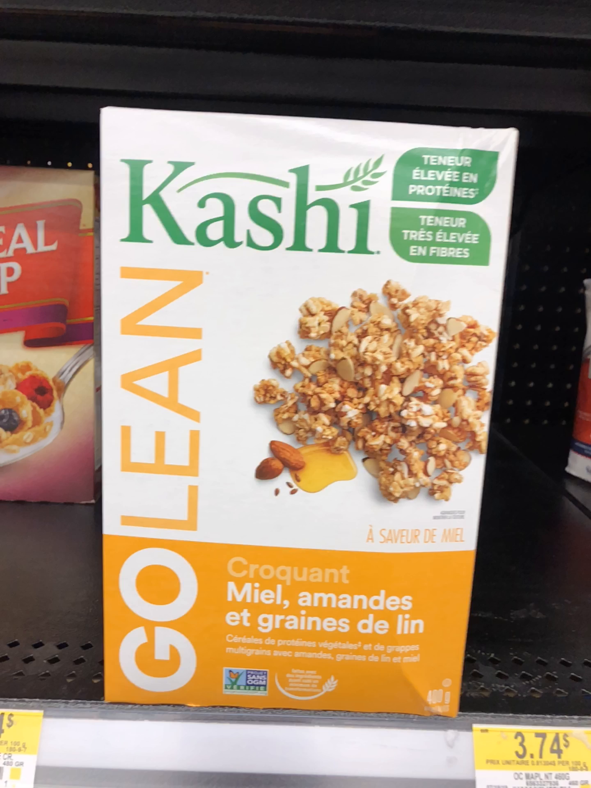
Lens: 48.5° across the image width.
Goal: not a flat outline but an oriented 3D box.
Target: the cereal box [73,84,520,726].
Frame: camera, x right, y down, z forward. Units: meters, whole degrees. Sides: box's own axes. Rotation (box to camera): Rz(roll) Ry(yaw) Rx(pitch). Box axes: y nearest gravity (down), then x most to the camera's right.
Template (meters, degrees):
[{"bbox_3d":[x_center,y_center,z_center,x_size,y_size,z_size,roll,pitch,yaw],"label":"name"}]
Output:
[{"bbox_3d":[-0.006,0.012,0.301,0.170,0.269,0.050,3,12,0],"label":"cereal box"}]
